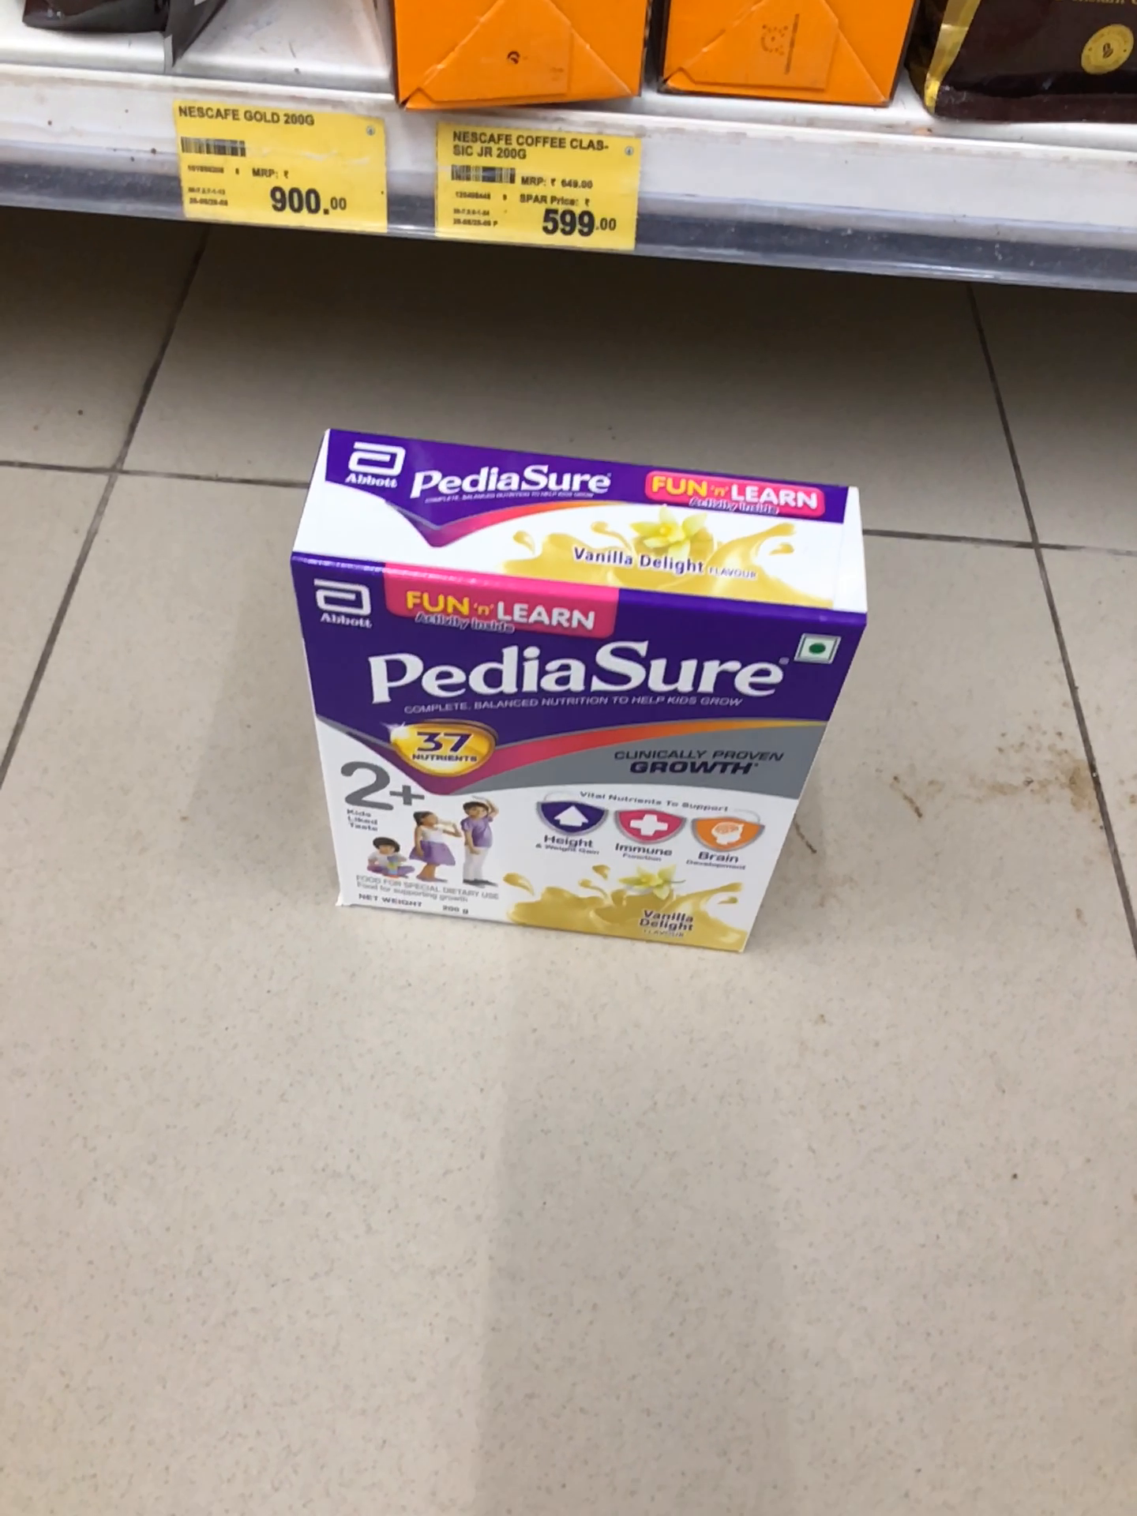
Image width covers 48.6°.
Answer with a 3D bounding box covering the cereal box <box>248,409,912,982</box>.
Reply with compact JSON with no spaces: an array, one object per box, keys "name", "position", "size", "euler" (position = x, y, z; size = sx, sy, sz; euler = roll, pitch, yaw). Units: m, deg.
[{"name":"cereal box","position":[0.000,-0.006,0.342],"size":[0.140,0.159,0.050],"euler":[7,54,0]}]
